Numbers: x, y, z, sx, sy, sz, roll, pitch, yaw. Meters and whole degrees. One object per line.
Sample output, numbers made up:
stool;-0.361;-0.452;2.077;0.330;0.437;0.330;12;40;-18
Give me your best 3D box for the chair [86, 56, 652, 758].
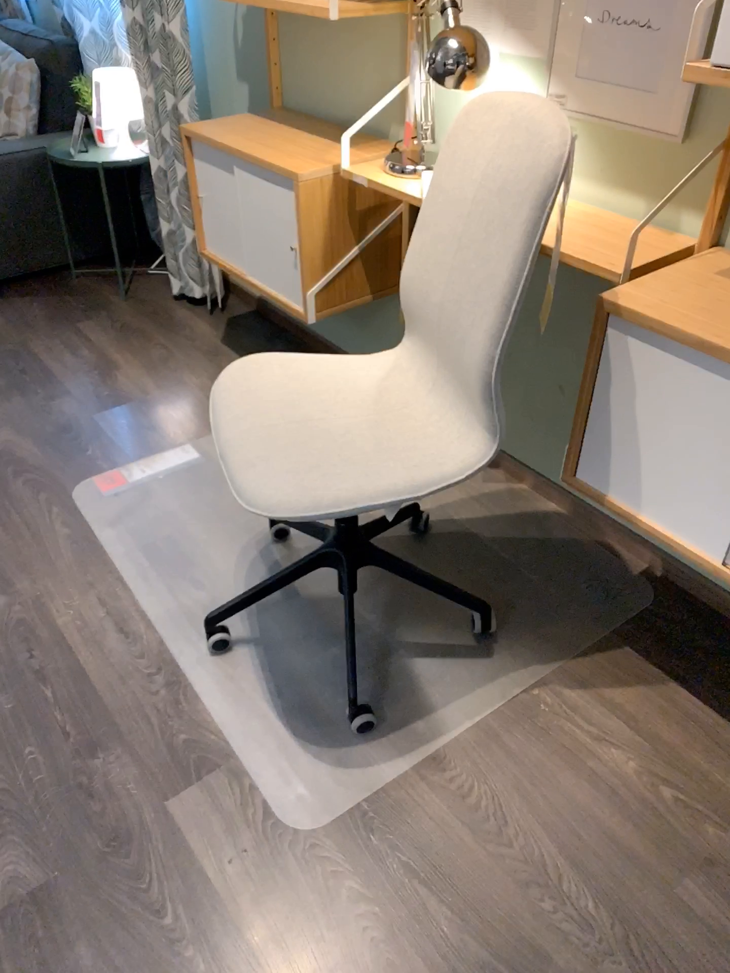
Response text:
chair;-0.058;-0.146;1.310;0.620;0.965;0.623;-10;39;-13
